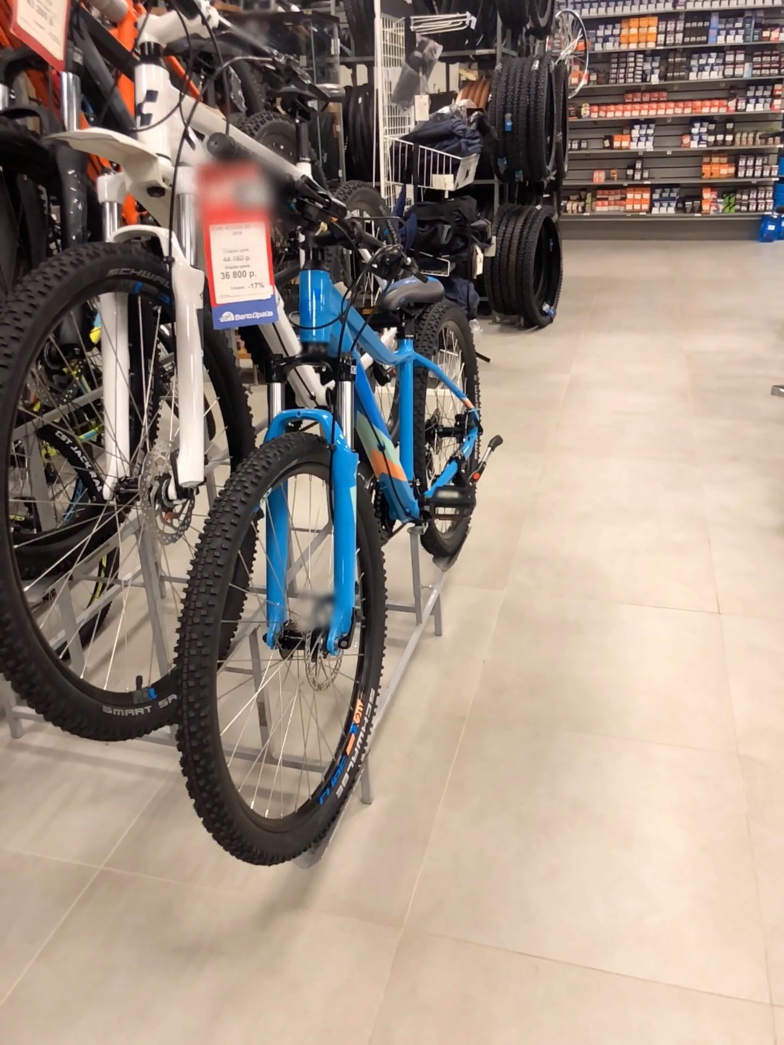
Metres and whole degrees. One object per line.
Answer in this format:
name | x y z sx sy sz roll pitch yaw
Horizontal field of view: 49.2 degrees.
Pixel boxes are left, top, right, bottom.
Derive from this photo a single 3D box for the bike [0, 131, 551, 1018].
bike | -0.112 -0.176 1.773 0.630 1.082 1.710 5 26 14
